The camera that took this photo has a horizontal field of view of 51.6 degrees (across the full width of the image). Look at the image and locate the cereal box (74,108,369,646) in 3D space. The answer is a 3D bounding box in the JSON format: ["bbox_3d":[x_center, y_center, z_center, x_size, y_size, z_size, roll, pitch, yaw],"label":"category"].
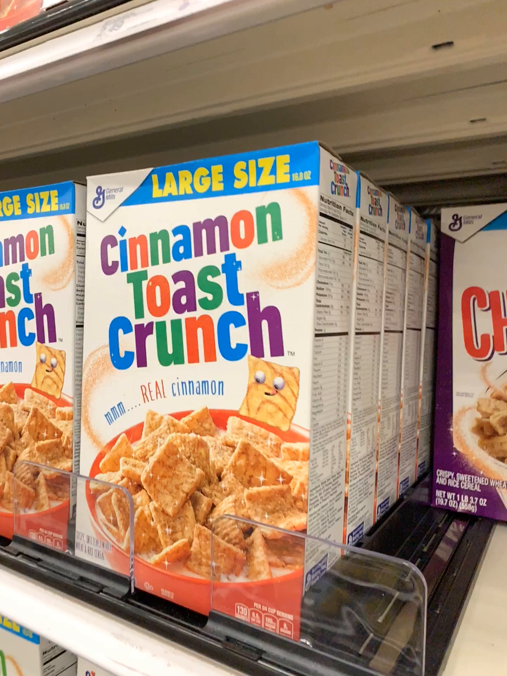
[{"bbox_3d":[-0.029,0.018,0.362,0.190,0.290,0.070,3,2,32],"label":"cereal box"}]
